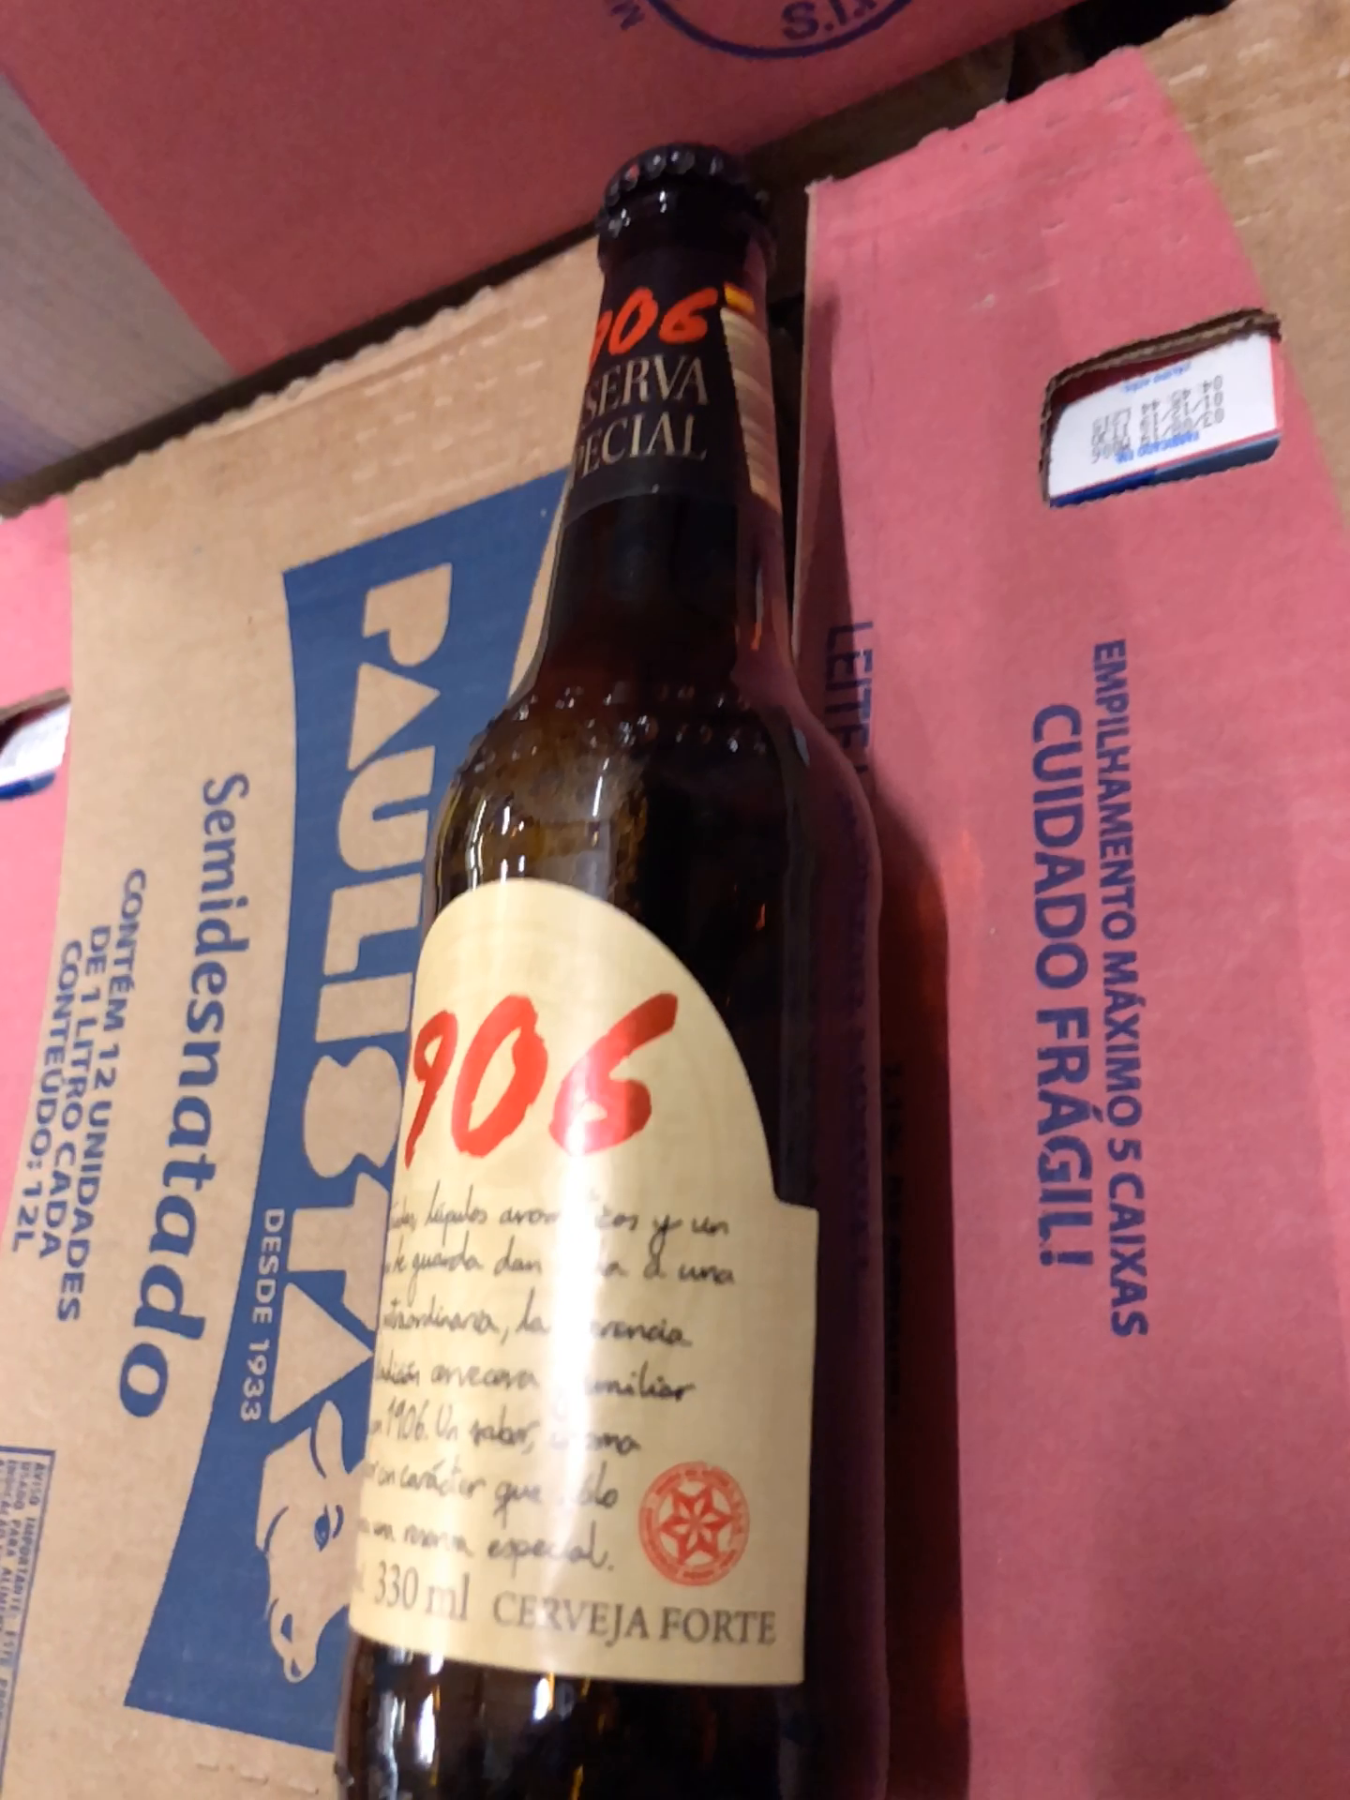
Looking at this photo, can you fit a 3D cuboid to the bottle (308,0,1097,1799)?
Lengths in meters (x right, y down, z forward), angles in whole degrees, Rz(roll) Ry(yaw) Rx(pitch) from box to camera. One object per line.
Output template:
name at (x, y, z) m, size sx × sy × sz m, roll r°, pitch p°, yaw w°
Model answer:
bottle at (0.010, -0.007, 0.214) m, size 0.070 × 0.060 × 0.270 m, roll -8°, pitch 70°, yaw 30°
